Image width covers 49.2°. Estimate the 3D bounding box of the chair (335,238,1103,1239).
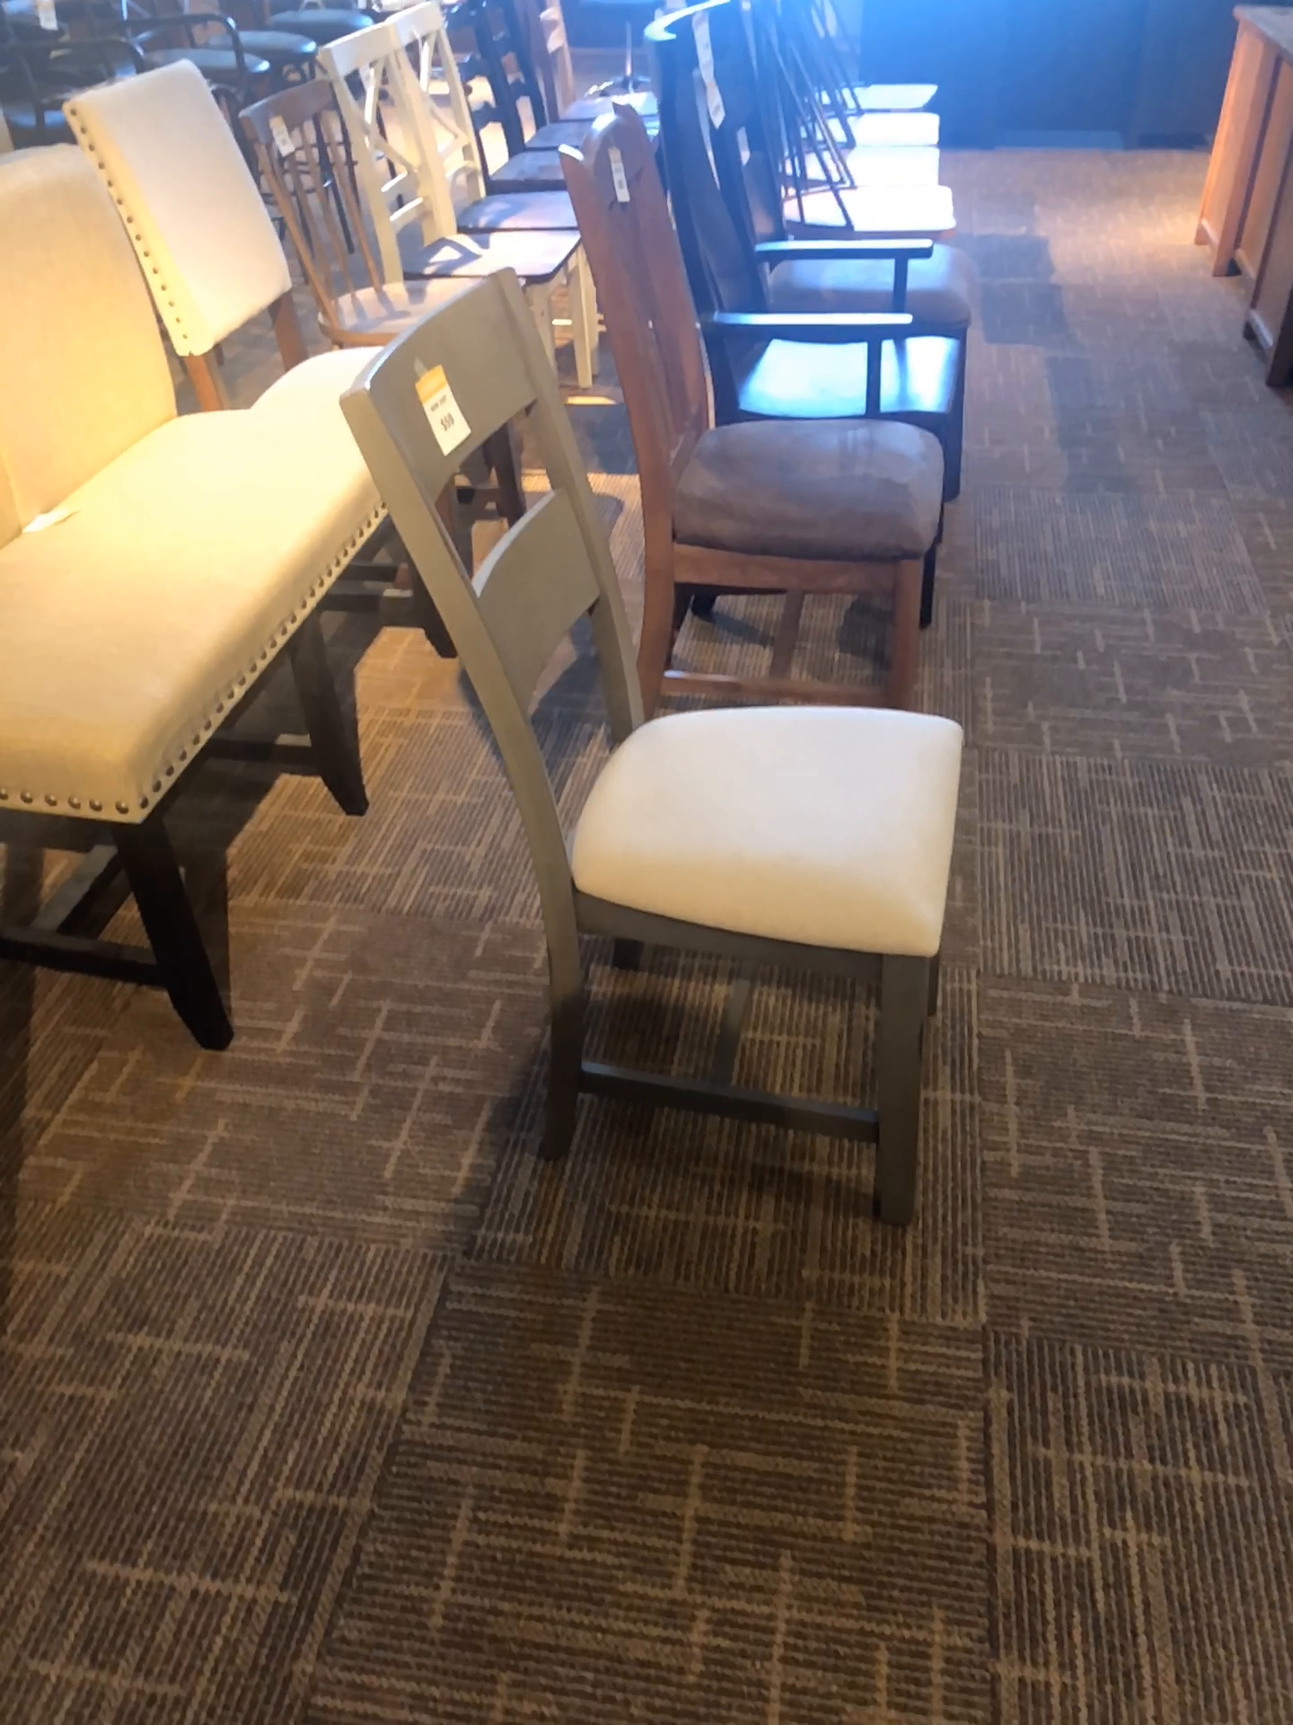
[{"bbox_3d":[0.102,-0.125,1.605,0.630,0.965,0.462,8,37,11],"label":"chair"}]
